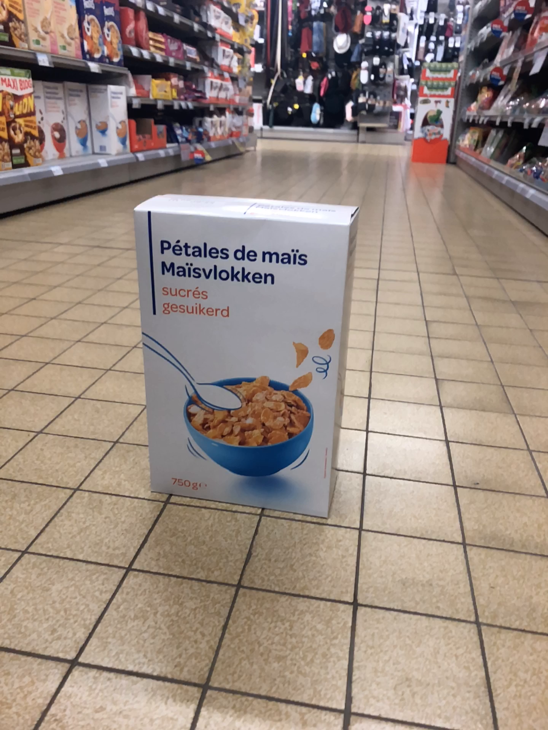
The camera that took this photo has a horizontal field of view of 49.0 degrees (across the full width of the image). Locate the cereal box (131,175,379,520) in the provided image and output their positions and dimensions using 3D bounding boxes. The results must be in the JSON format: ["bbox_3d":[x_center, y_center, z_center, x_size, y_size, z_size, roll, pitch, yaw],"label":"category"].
[{"bbox_3d":[-0.016,-0.022,0.593,0.200,0.299,0.111,7,22,11],"label":"cereal box"}]
